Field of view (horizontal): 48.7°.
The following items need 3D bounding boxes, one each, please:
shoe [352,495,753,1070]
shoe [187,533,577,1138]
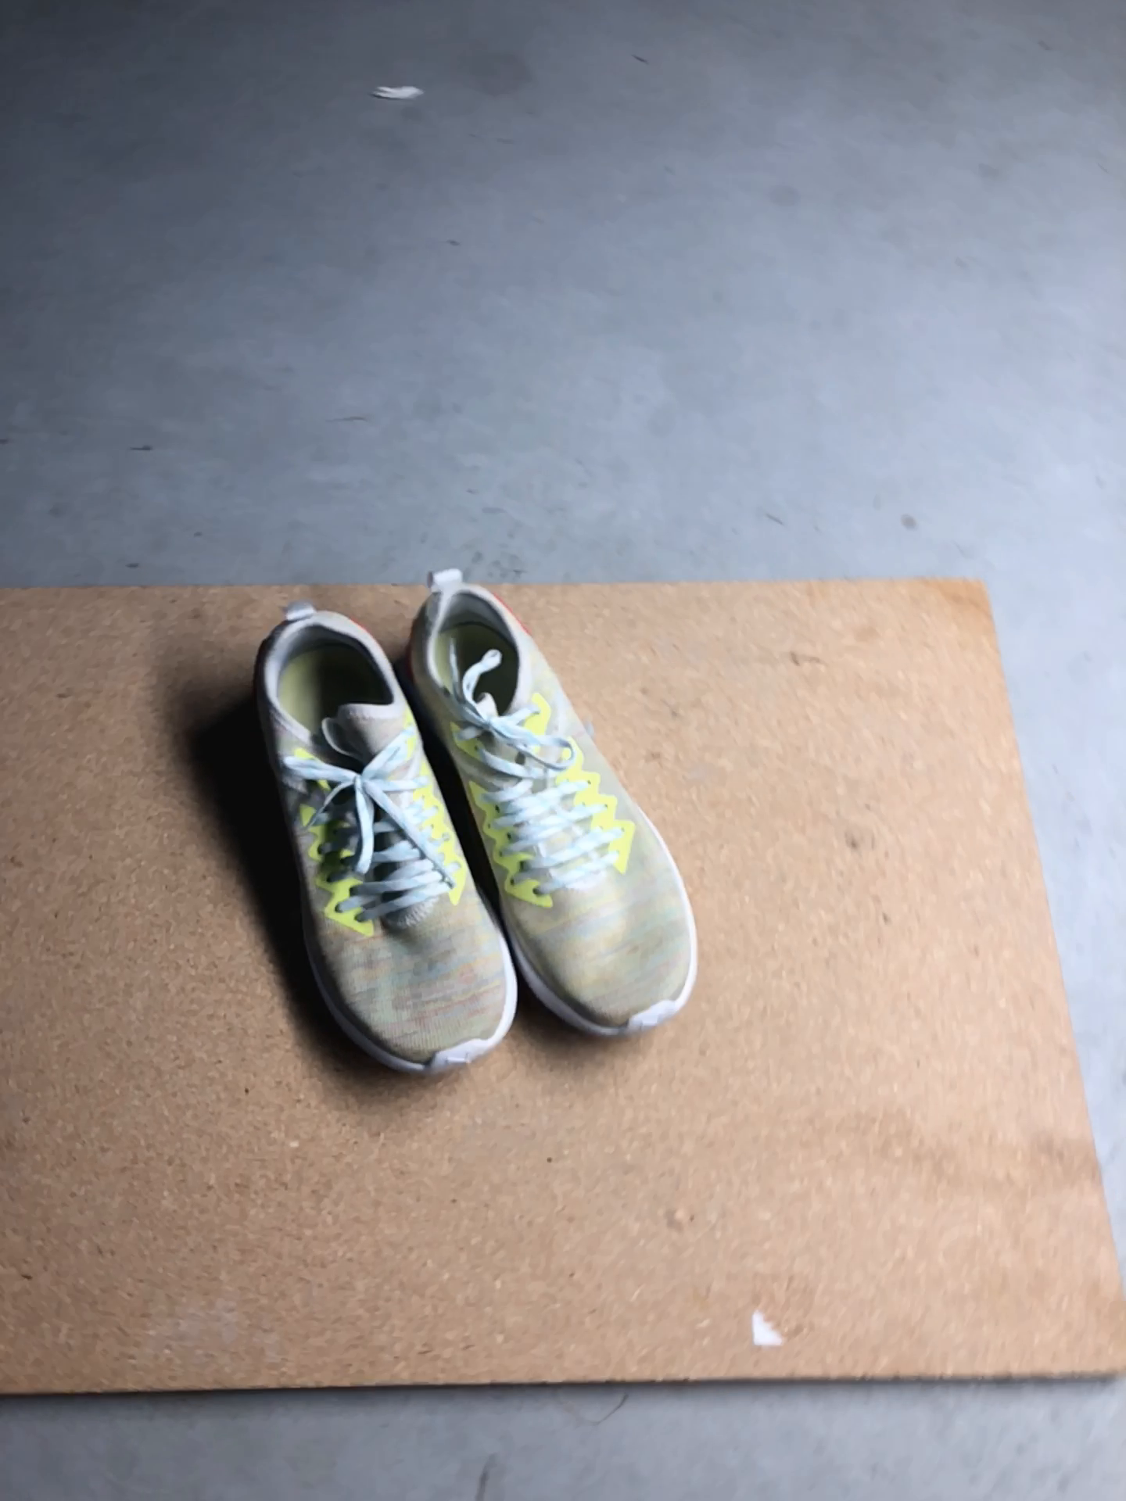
[{"bbox_3d":[-0.018,0.015,0.724,0.110,0.100,0.300,-19,72,-17],"label":"shoe"},{"bbox_3d":[-0.106,0.043,0.685,0.100,0.100,0.300,-19,72,-17],"label":"shoe"}]
